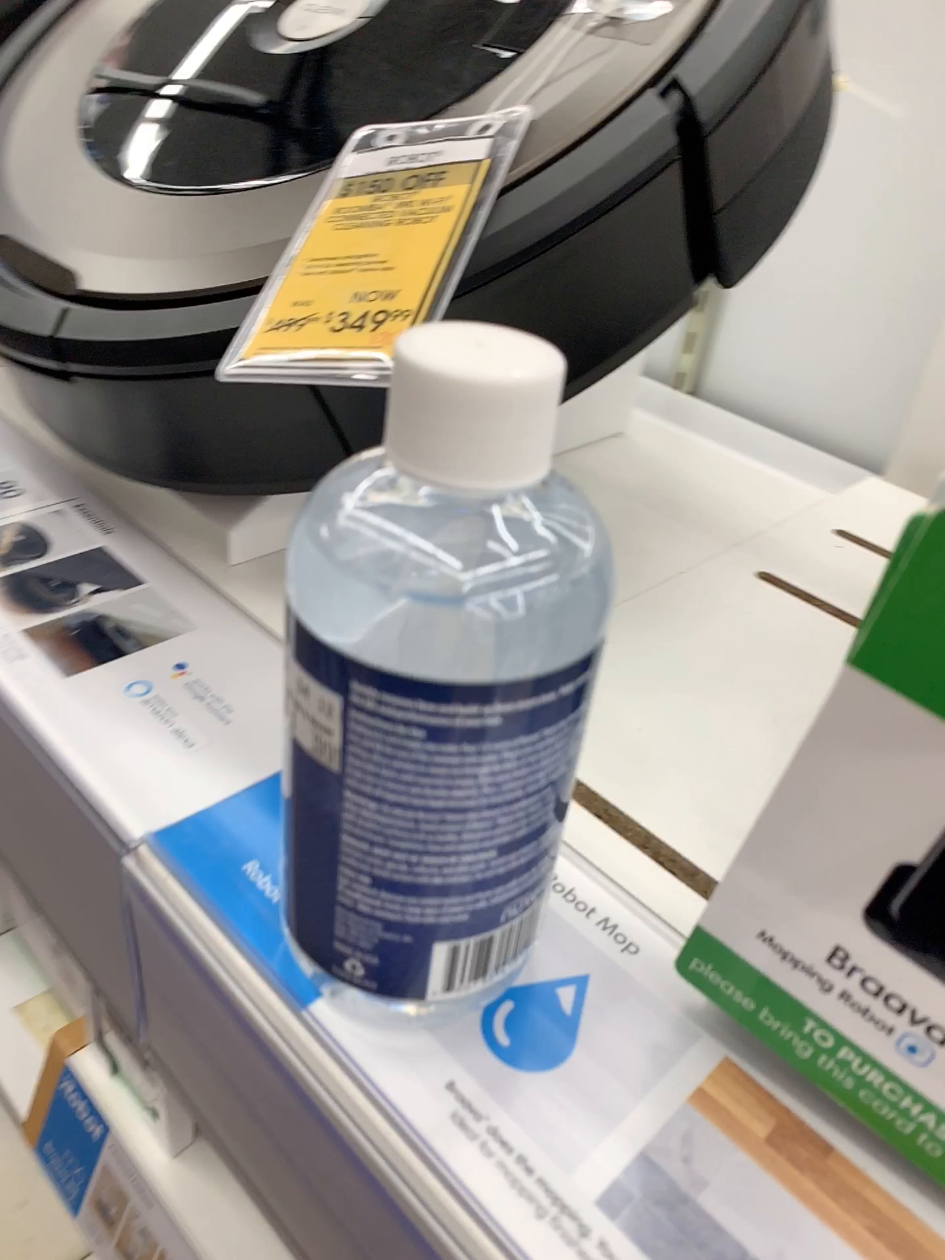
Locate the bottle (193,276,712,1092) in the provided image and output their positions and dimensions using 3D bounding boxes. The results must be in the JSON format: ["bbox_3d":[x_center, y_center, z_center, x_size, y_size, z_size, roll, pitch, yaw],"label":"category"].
[{"bbox_3d":[-0.007,0.012,0.183,0.060,0.129,0.060,6,34,-4],"label":"bottle"}]
